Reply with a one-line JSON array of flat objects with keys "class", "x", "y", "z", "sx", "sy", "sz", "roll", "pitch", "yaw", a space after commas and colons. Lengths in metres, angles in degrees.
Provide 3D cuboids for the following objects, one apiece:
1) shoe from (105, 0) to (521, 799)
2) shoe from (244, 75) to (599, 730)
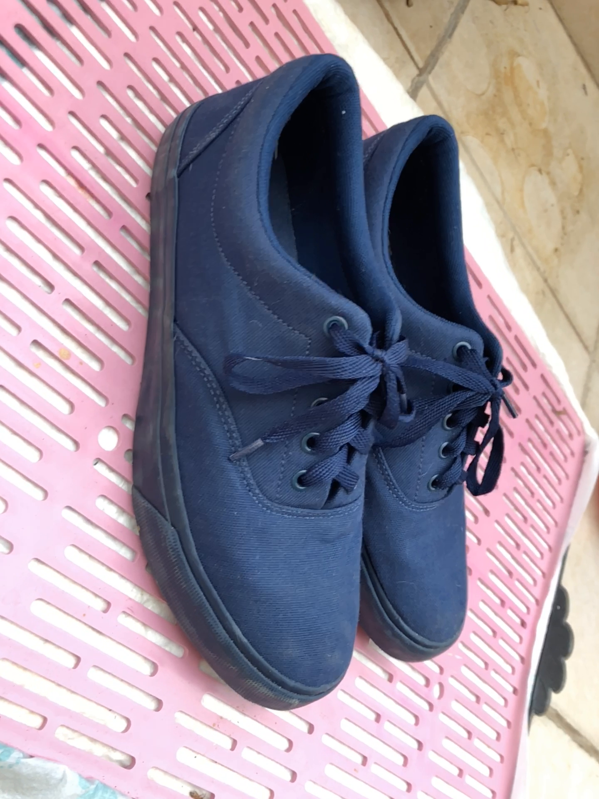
[{"class": "shoe", "x": 0.004, "y": -0.006, "z": 0.273, "sx": 0.108, "sy": 0.099, "sz": 0.270, "roll": -2, "pitch": 85, "yaw": -44}, {"class": "shoe", "x": 0.067, "y": 0.001, "z": 0.344, "sx": 0.108, "sy": 0.099, "sz": 0.270, "roll": -11, "pitch": 92, "yaw": -44}]
